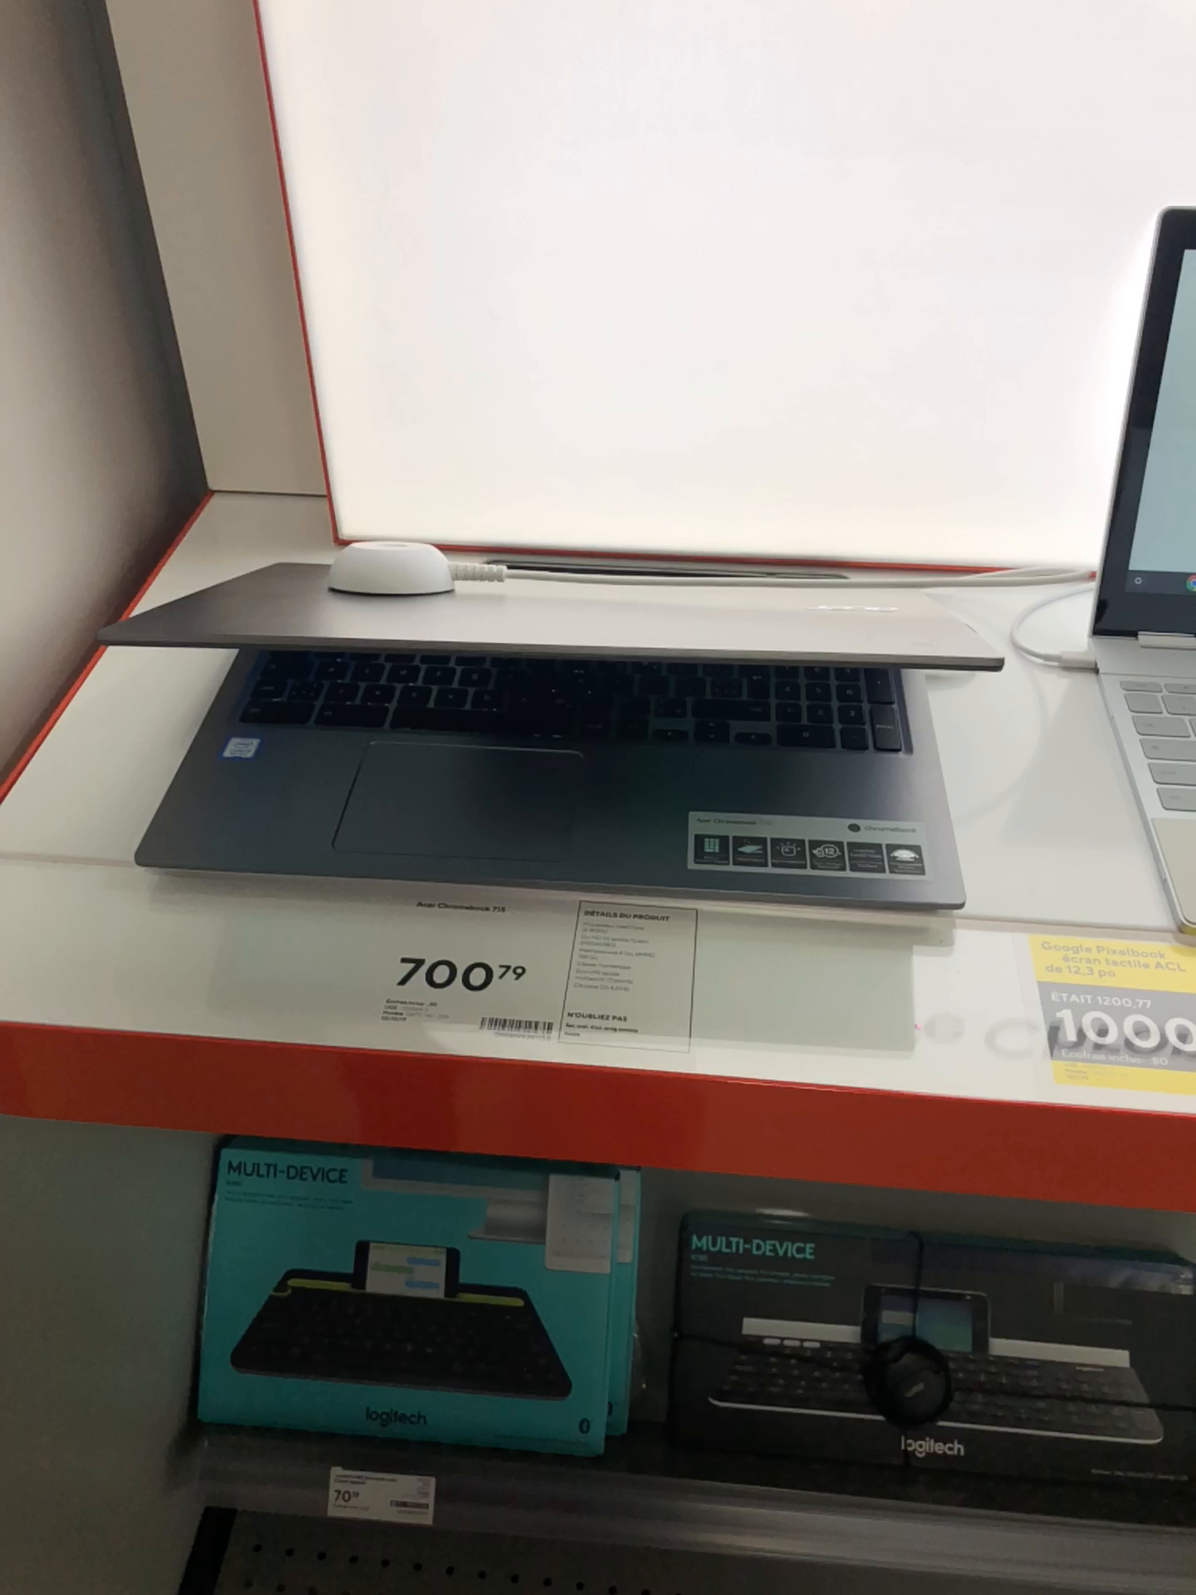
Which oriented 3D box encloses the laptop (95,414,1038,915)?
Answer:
[{"bbox_3d":[-0.006,-0.076,0.619,0.356,0.105,0.237,3,40,4],"label":"laptop"}]
